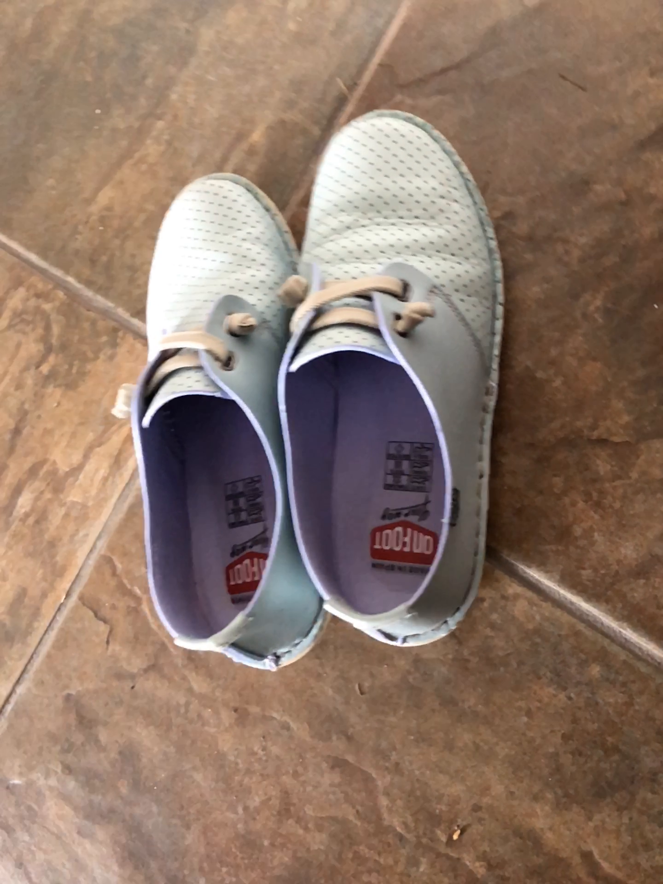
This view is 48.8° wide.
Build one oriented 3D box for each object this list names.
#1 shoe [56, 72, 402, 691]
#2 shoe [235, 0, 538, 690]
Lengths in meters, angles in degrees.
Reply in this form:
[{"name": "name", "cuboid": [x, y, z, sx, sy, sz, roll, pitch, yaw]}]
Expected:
[{"name": "shoe", "cuboid": [-0.048, -0.023, 0.356, 0.100, 0.100, 0.250, -13, 79, 19]}, {"name": "shoe", "cuboid": [0.026, -0.034, 0.318, 0.100, 0.100, 0.250, -4, 82, 20]}]
